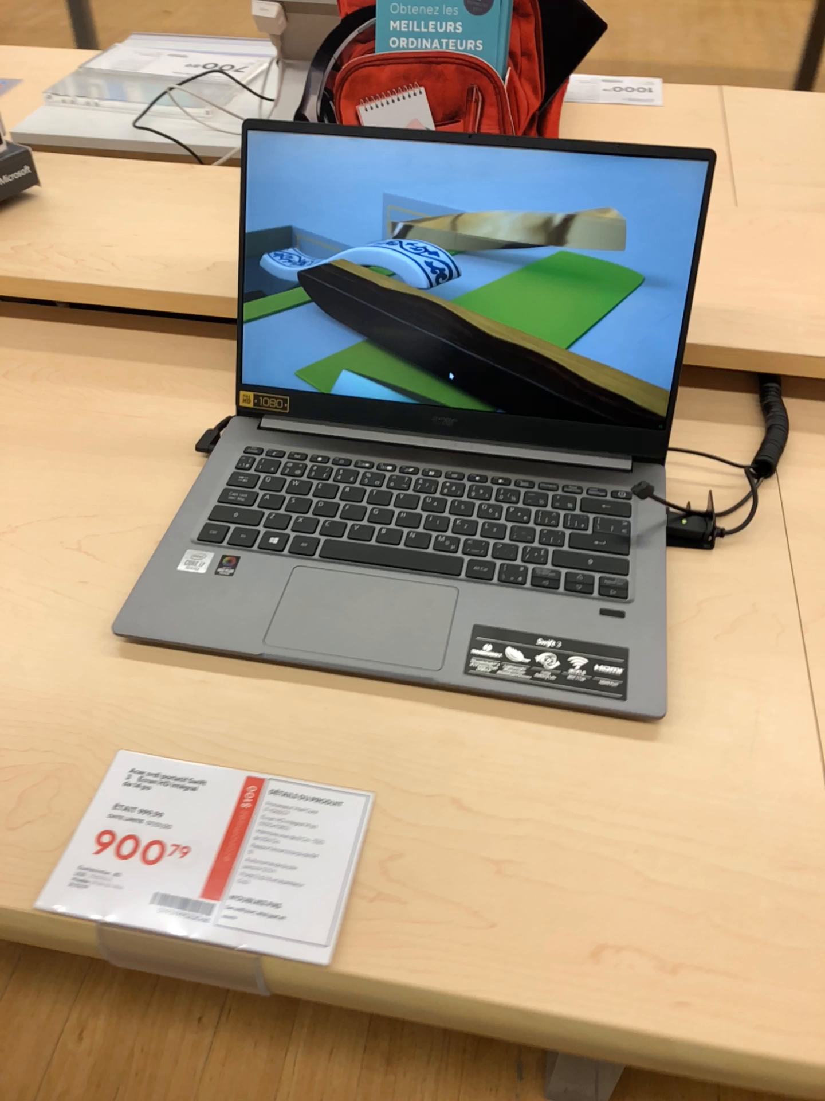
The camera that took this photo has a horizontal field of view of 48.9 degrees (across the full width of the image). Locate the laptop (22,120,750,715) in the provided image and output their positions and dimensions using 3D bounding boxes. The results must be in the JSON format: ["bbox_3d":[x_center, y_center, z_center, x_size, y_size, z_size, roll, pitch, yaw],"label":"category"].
[{"bbox_3d":[0.010,-0.104,0.555,0.315,0.177,0.313,8,45,8],"label":"laptop"}]
